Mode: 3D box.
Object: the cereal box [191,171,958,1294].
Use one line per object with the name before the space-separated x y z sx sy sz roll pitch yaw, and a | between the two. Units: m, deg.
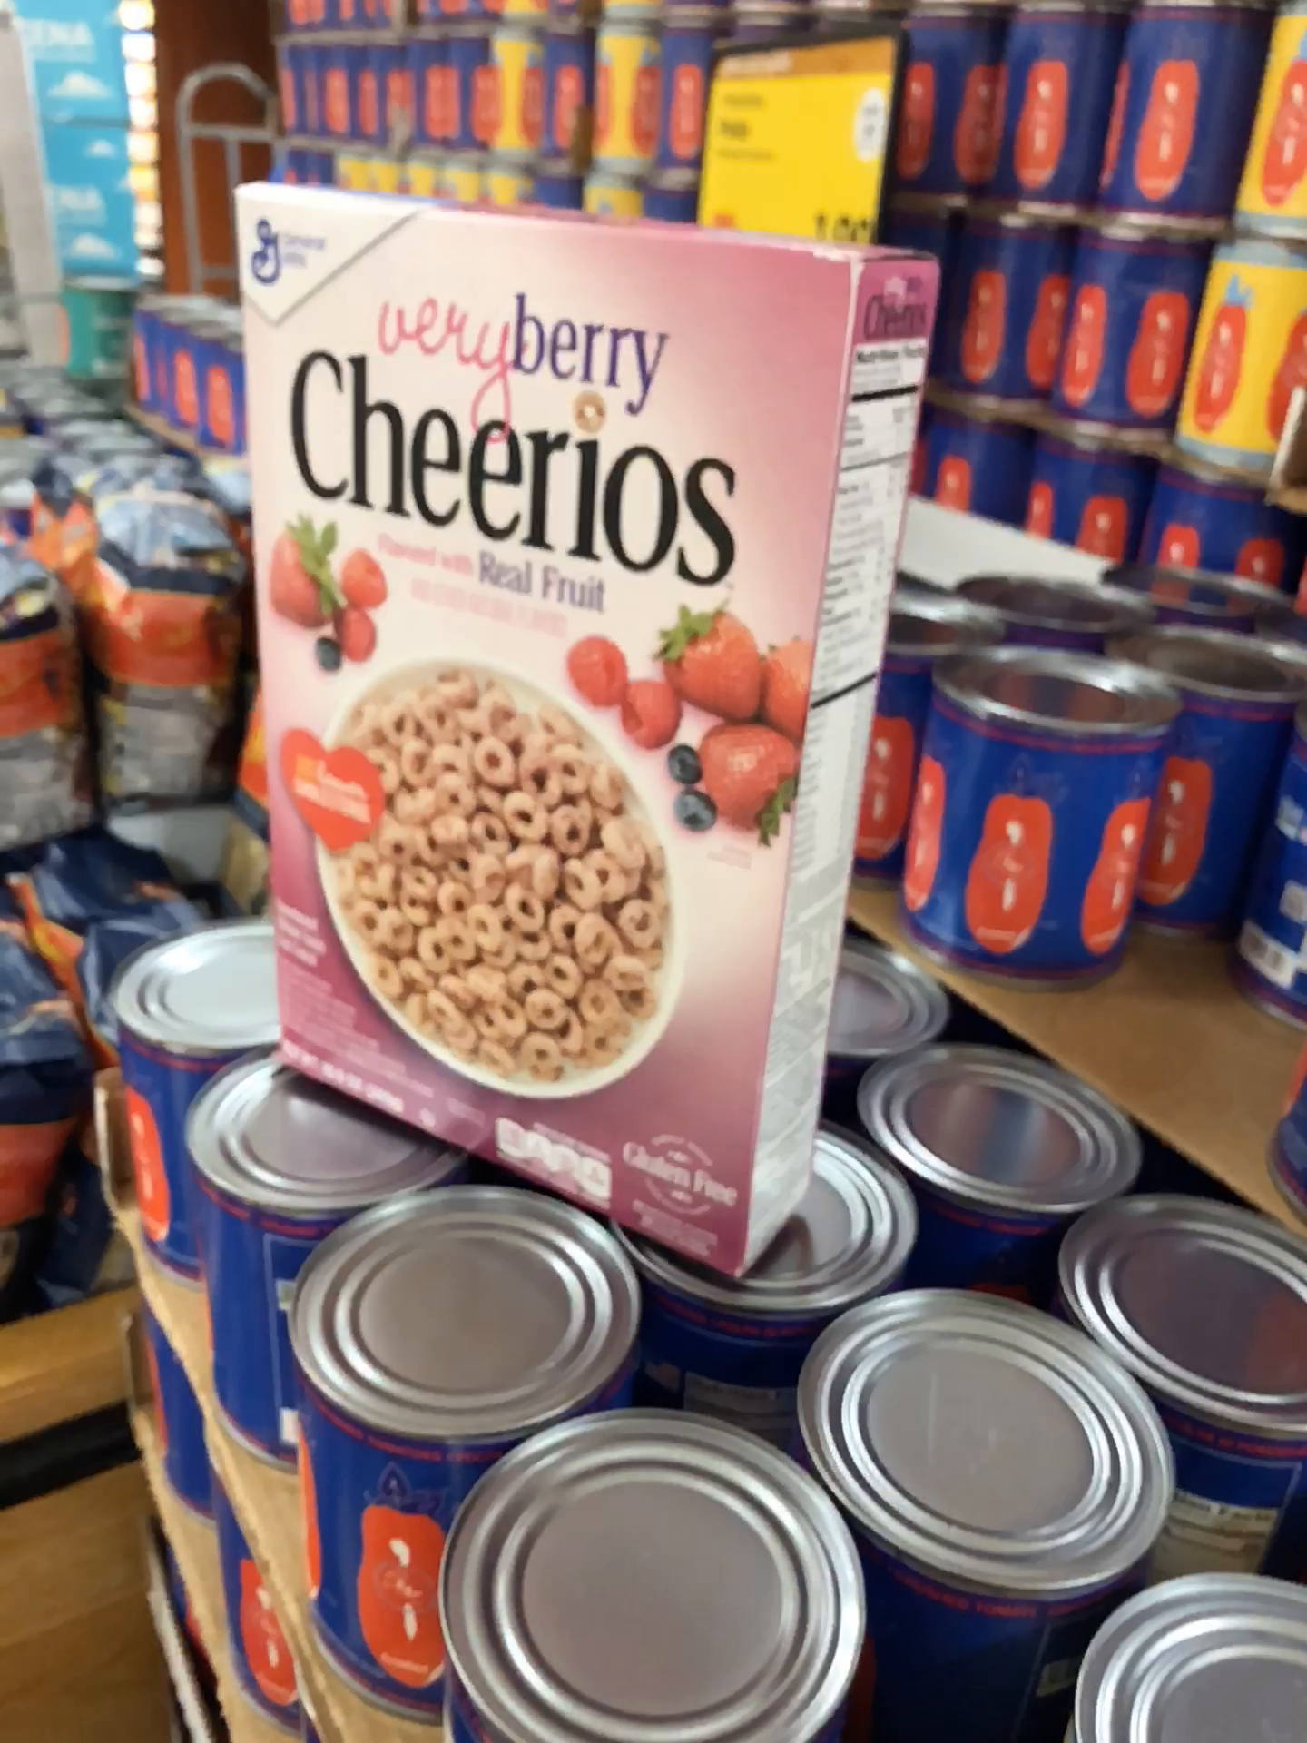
cereal box | -0.035 -0.044 0.438 0.200 0.288 0.060 18 29 28
